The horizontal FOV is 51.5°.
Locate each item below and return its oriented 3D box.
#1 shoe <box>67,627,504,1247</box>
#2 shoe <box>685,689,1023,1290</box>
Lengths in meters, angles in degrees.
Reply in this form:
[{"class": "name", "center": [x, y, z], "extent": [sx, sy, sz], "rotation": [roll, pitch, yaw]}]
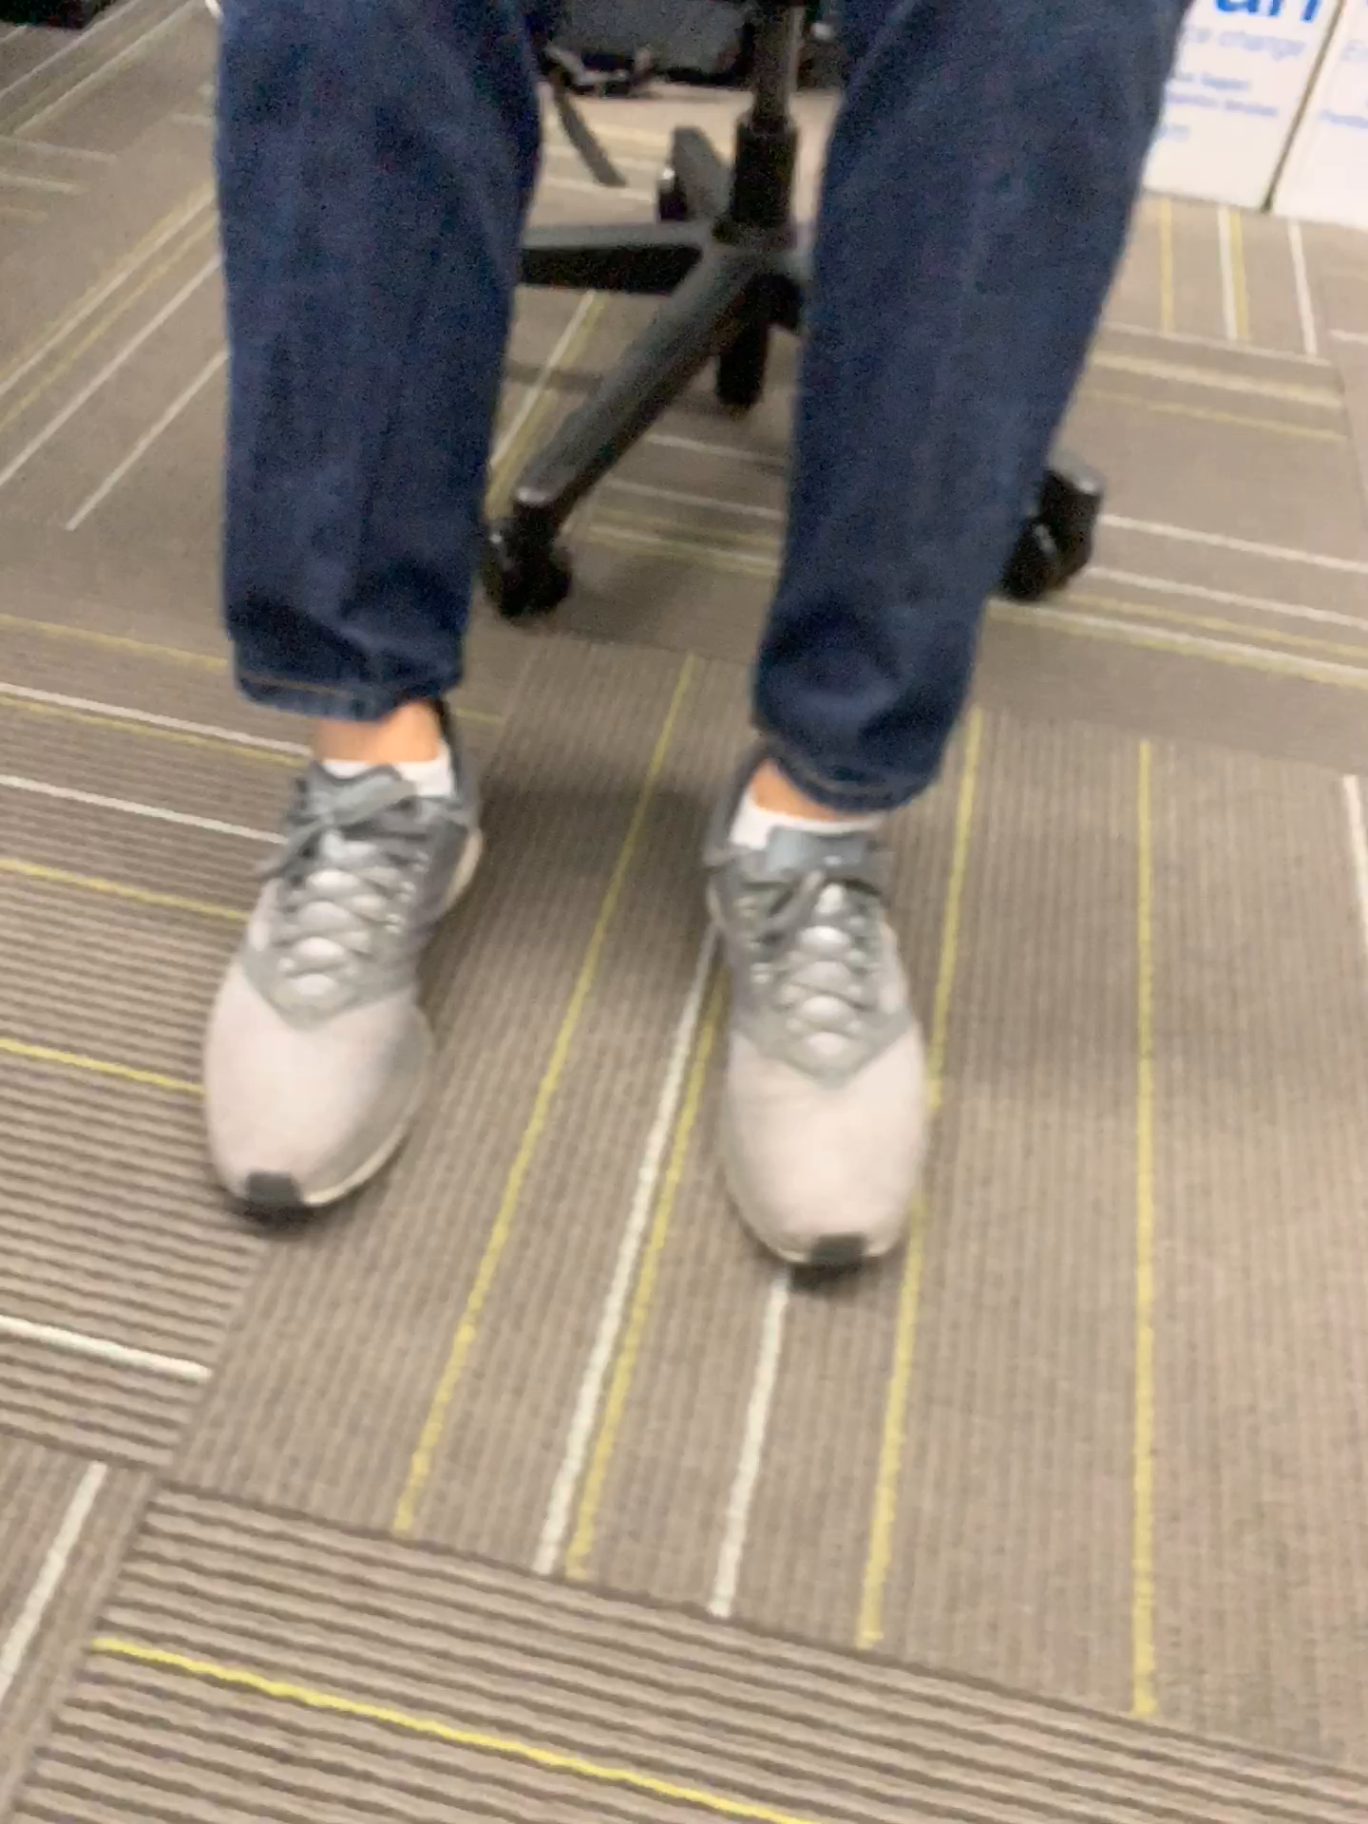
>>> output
[{"class": "shoe", "center": [-0.181, 0.002, 0.723], "extent": [0.120, 0.123, 0.291], "rotation": [7, 50, 1]}, {"class": "shoe", "center": [0.071, 0.030, 0.730], "extent": [0.120, 0.123, 0.291], "rotation": [1, 50, -5]}]
